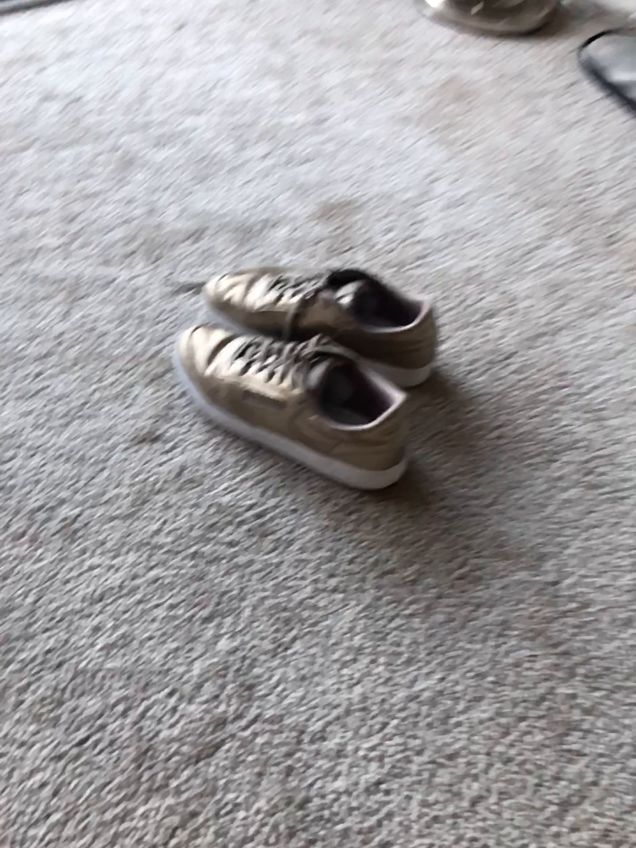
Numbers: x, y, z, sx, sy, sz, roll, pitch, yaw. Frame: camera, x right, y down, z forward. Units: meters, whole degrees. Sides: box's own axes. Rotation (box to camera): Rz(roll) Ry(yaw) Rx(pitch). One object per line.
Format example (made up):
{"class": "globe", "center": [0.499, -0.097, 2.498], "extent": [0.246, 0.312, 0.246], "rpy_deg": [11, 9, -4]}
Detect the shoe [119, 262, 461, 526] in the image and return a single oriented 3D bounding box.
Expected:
{"class": "shoe", "center": [-0.029, -0.034, 0.630], "extent": [0.280, 0.070, 0.110], "rpy_deg": [28, 54, 15]}

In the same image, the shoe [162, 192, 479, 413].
{"class": "shoe", "center": [0.000, -0.125, 0.687], "extent": [0.280, 0.070, 0.110], "rpy_deg": [24, 53, 12]}
